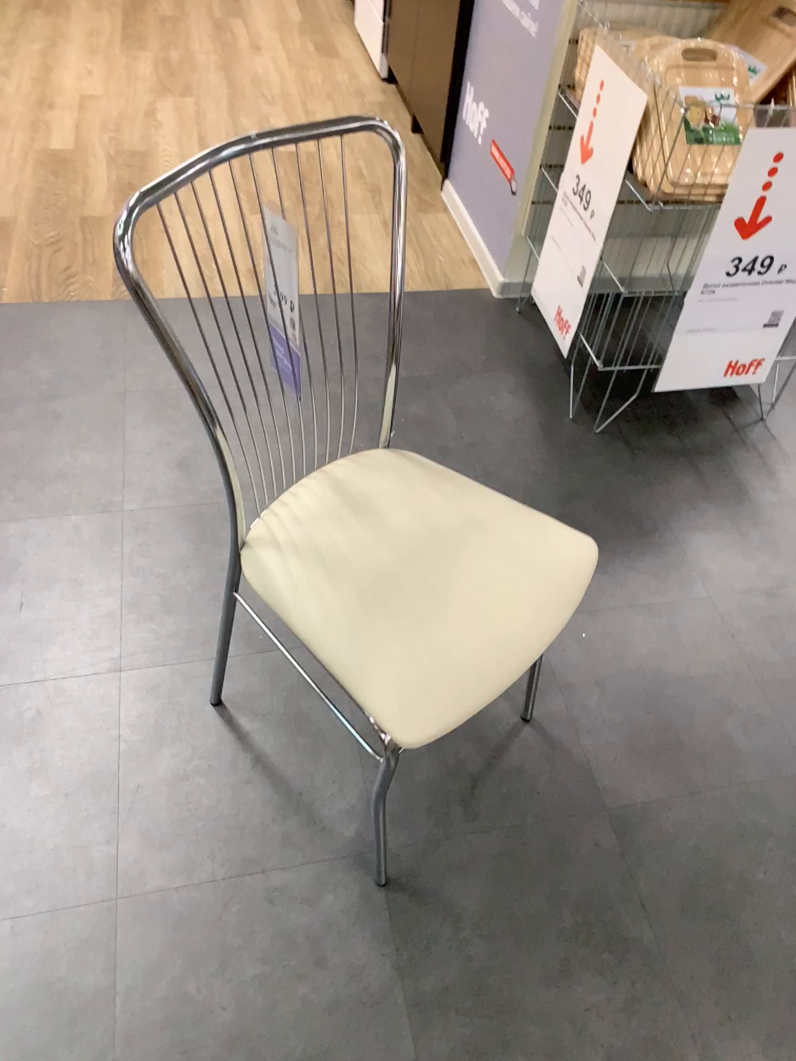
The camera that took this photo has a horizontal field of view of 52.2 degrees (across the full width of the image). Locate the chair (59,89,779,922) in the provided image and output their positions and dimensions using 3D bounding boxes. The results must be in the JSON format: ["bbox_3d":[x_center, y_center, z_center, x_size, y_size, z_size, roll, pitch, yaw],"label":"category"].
[{"bbox_3d":[-0.022,0.021,1.166,0.553,0.965,0.473,37,53,24],"label":"chair"}]
